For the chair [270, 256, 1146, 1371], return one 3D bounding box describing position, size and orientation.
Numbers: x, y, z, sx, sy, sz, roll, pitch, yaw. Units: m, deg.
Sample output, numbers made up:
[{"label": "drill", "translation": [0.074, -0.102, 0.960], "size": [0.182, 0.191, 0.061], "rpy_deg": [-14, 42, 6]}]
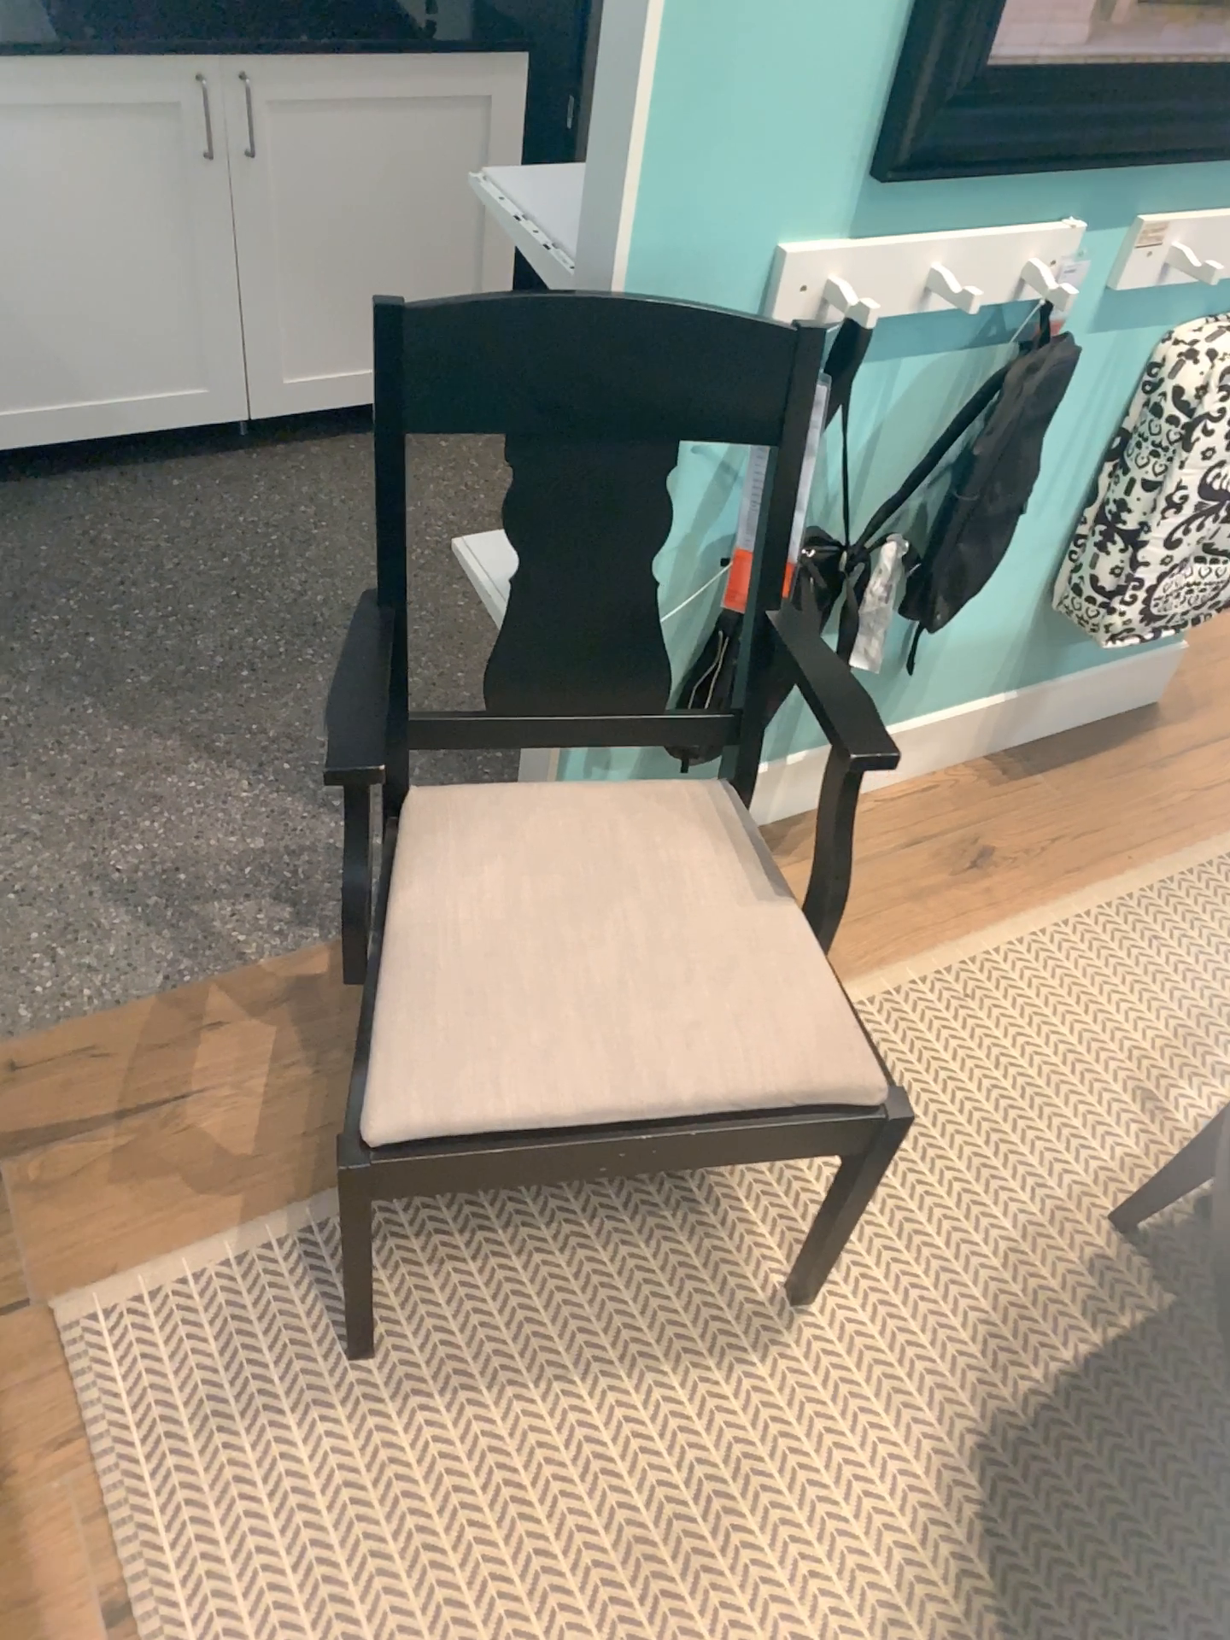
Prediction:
[{"label": "chair", "translation": [-0.045, 0.003, 1.406], "size": [0.600, 0.897, 0.803], "rpy_deg": [-2, 47, -12]}]
